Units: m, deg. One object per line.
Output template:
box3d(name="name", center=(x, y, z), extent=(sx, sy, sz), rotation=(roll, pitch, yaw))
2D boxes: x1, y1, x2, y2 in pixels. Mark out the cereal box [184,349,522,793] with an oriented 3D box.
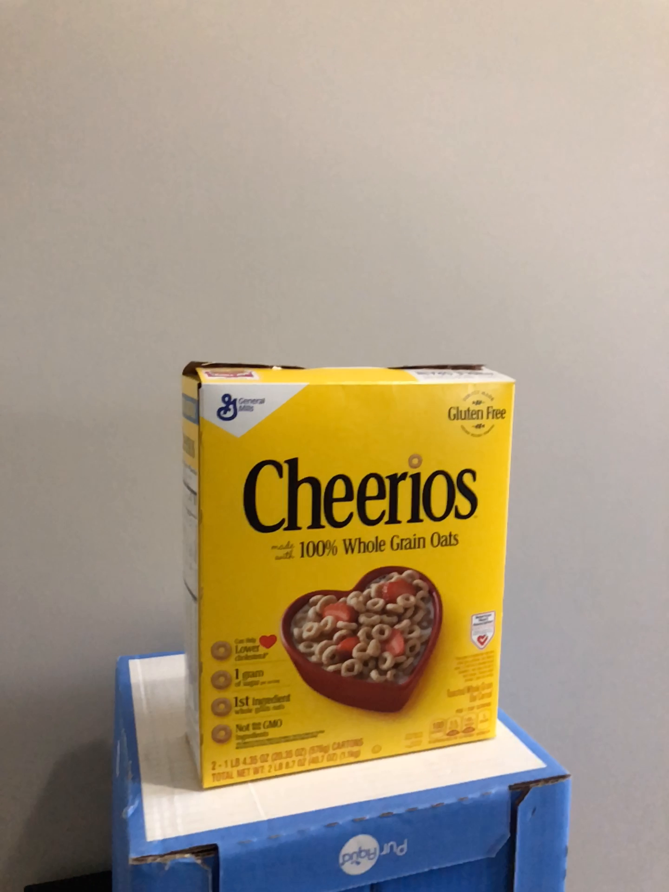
box3d(name="cereal box", center=(0.011, 0.081, 0.582), extent=(0.240, 0.310, 0.090), rotation=(-2, 8, -18))
